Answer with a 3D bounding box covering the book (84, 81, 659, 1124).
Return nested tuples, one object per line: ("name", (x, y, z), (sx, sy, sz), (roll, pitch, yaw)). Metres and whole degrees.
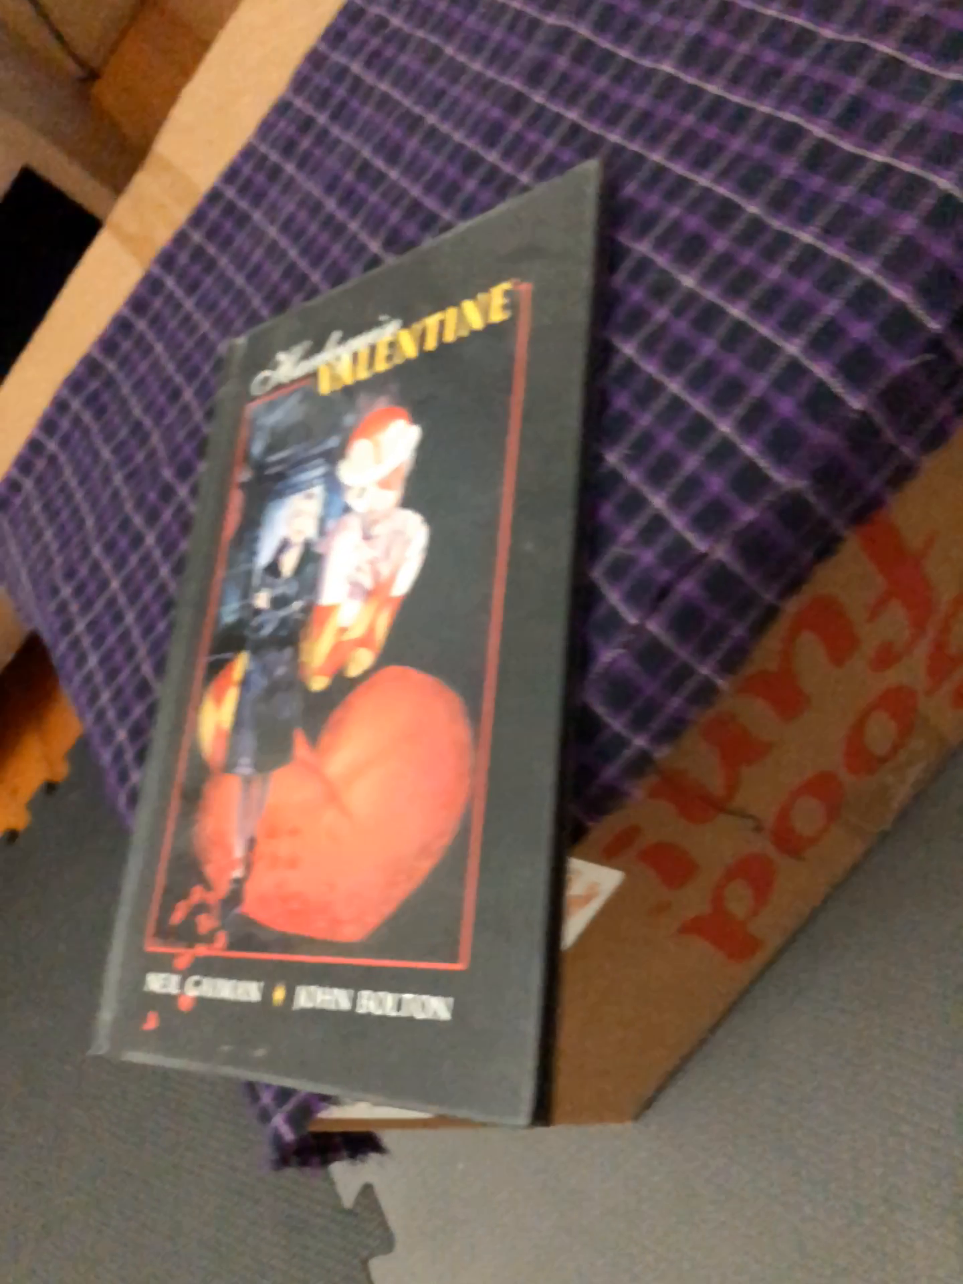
("book", (-0.033, -0.016, 0.329), (0.181, 0.020, 0.280), (-12, 64, 37))
